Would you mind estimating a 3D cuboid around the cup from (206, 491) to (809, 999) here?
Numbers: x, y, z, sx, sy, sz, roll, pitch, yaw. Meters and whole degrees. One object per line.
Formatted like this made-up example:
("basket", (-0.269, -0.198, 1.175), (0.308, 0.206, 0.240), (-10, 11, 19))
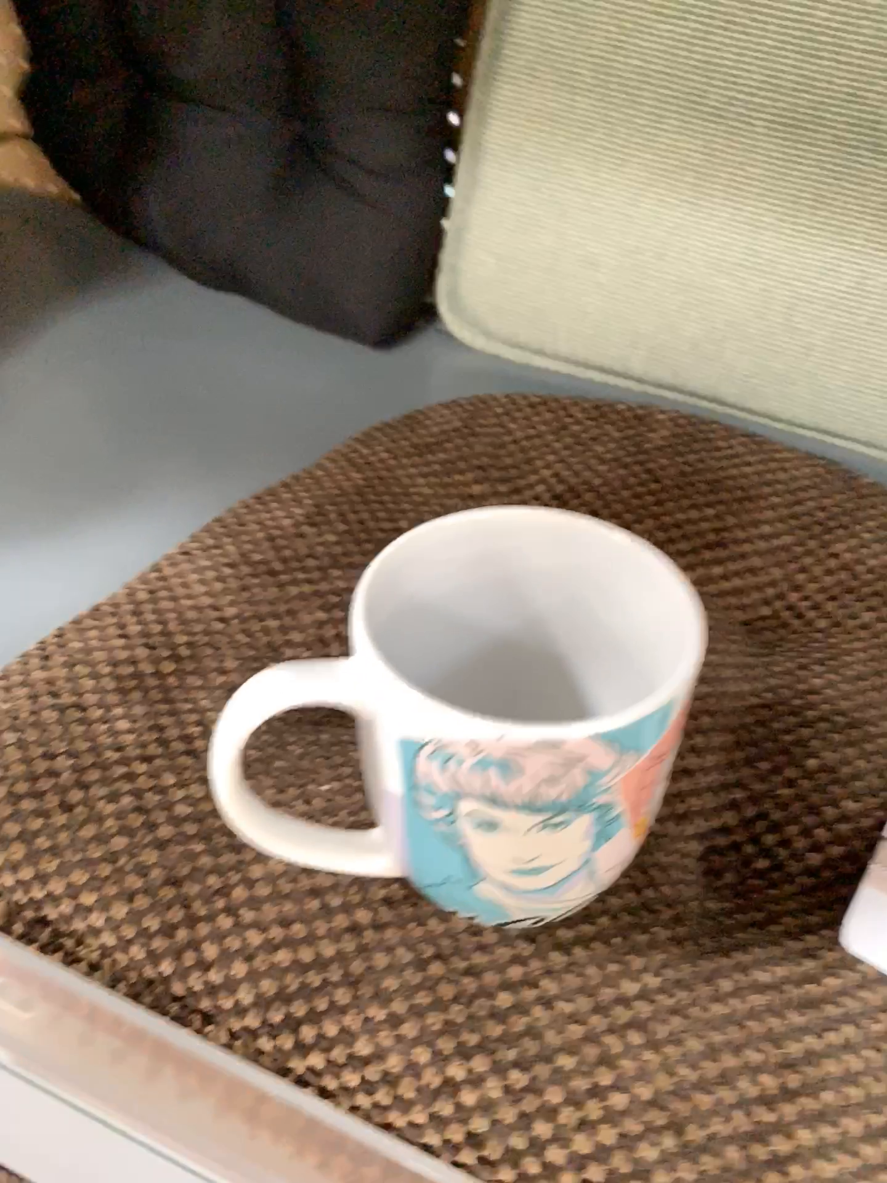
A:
("cup", (0.008, 0.041, 0.257), (0.128, 0.100, 0.090), (-2, 42, -8))
